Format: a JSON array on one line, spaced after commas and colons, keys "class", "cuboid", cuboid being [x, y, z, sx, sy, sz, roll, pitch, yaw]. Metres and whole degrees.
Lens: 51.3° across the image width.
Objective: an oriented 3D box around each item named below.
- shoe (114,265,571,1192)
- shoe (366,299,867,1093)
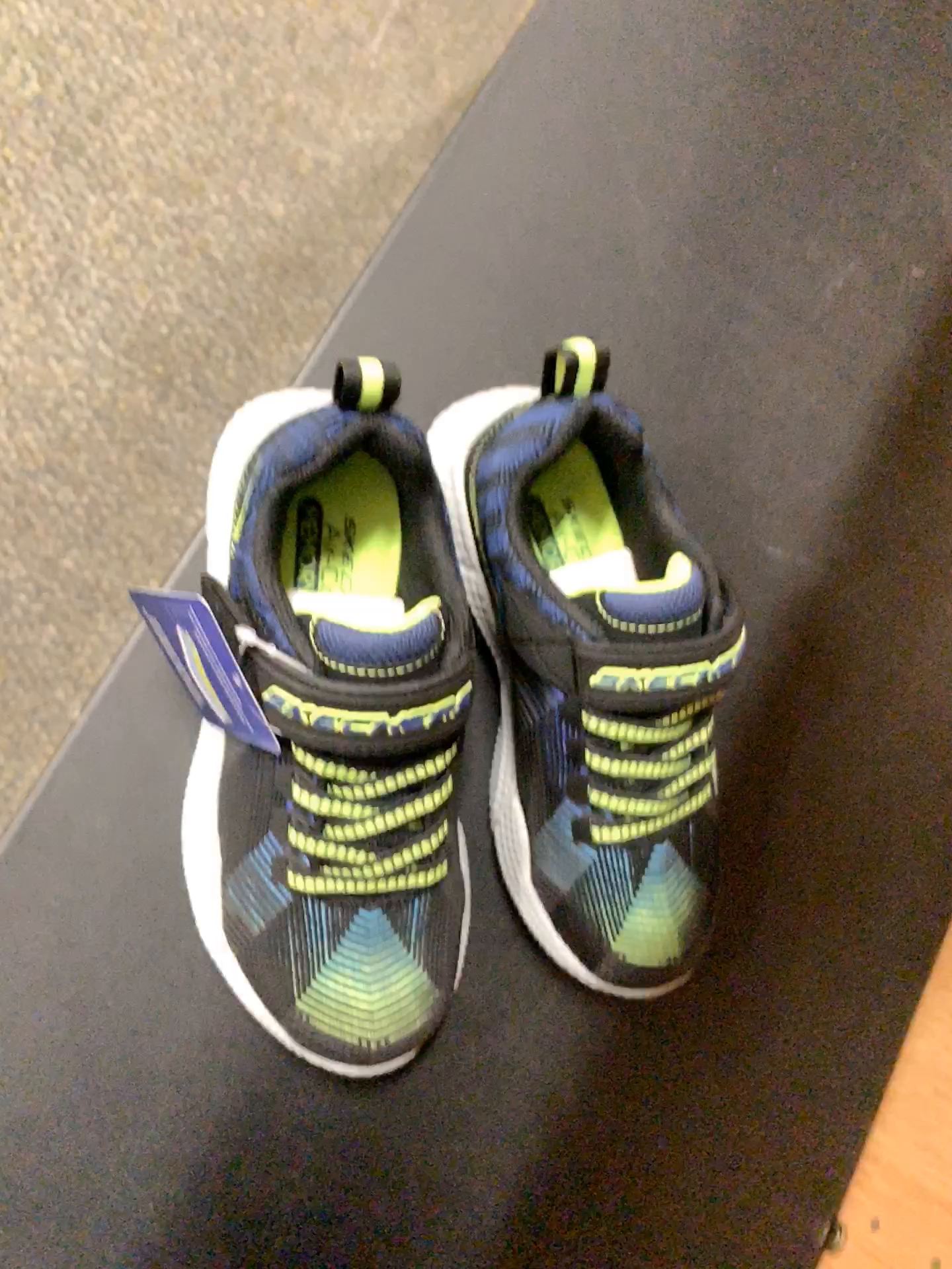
[{"class": "shoe", "cuboid": [-0.048, 0.020, 0.298, 0.098, 0.100, 0.220, -4, 87, -20]}, {"class": "shoe", "cuboid": [0.040, 0.015, 0.340, 0.092, 0.100, 0.220, -12, 90, -20]}]
